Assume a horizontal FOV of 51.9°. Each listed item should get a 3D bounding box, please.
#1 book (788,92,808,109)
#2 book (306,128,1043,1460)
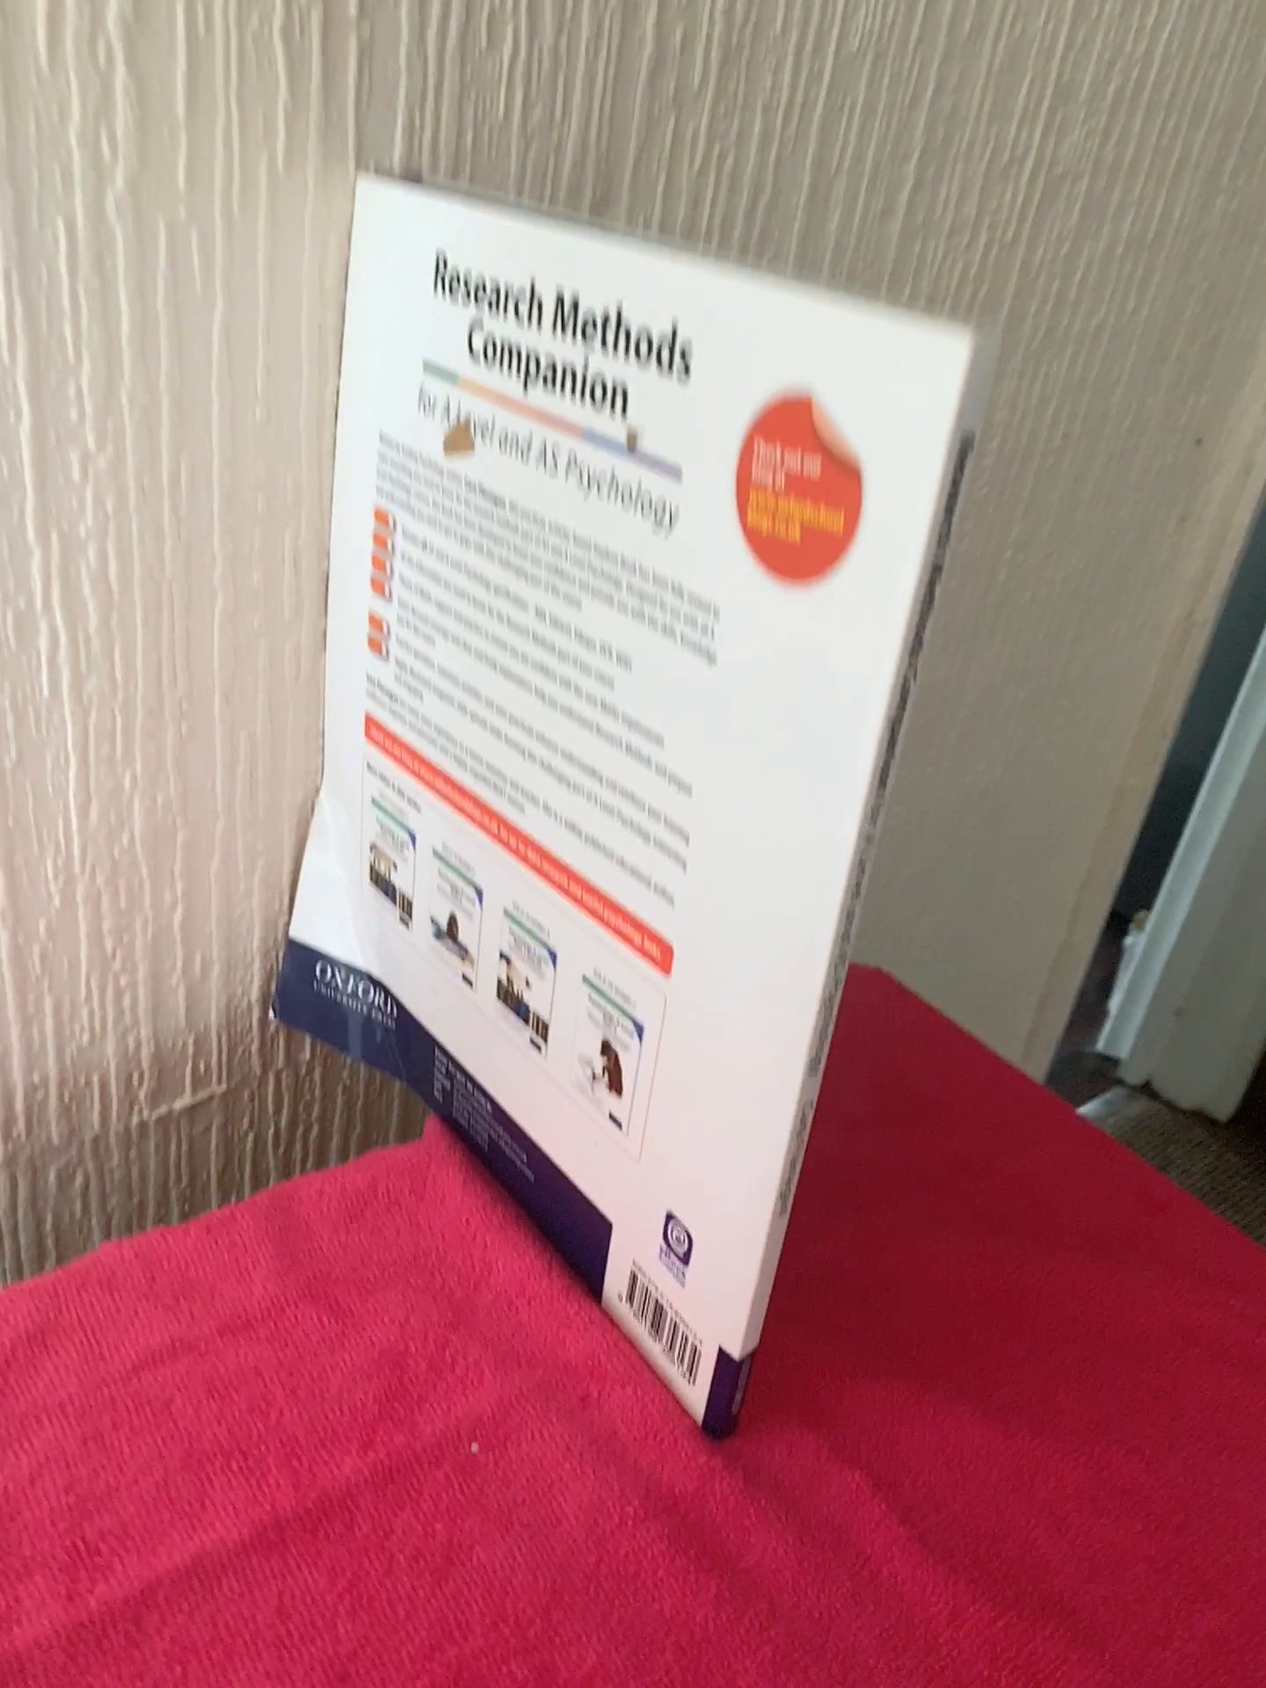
[{"bbox_3d":[13.479,-60.700,106.227,1.004,0.991,1.006,-13,36,-36],"label":"book"},{"bbox_3d":[-0.028,-0.023,0.361,0.020,0.287,0.252,-15,37,-32],"label":"book"}]
